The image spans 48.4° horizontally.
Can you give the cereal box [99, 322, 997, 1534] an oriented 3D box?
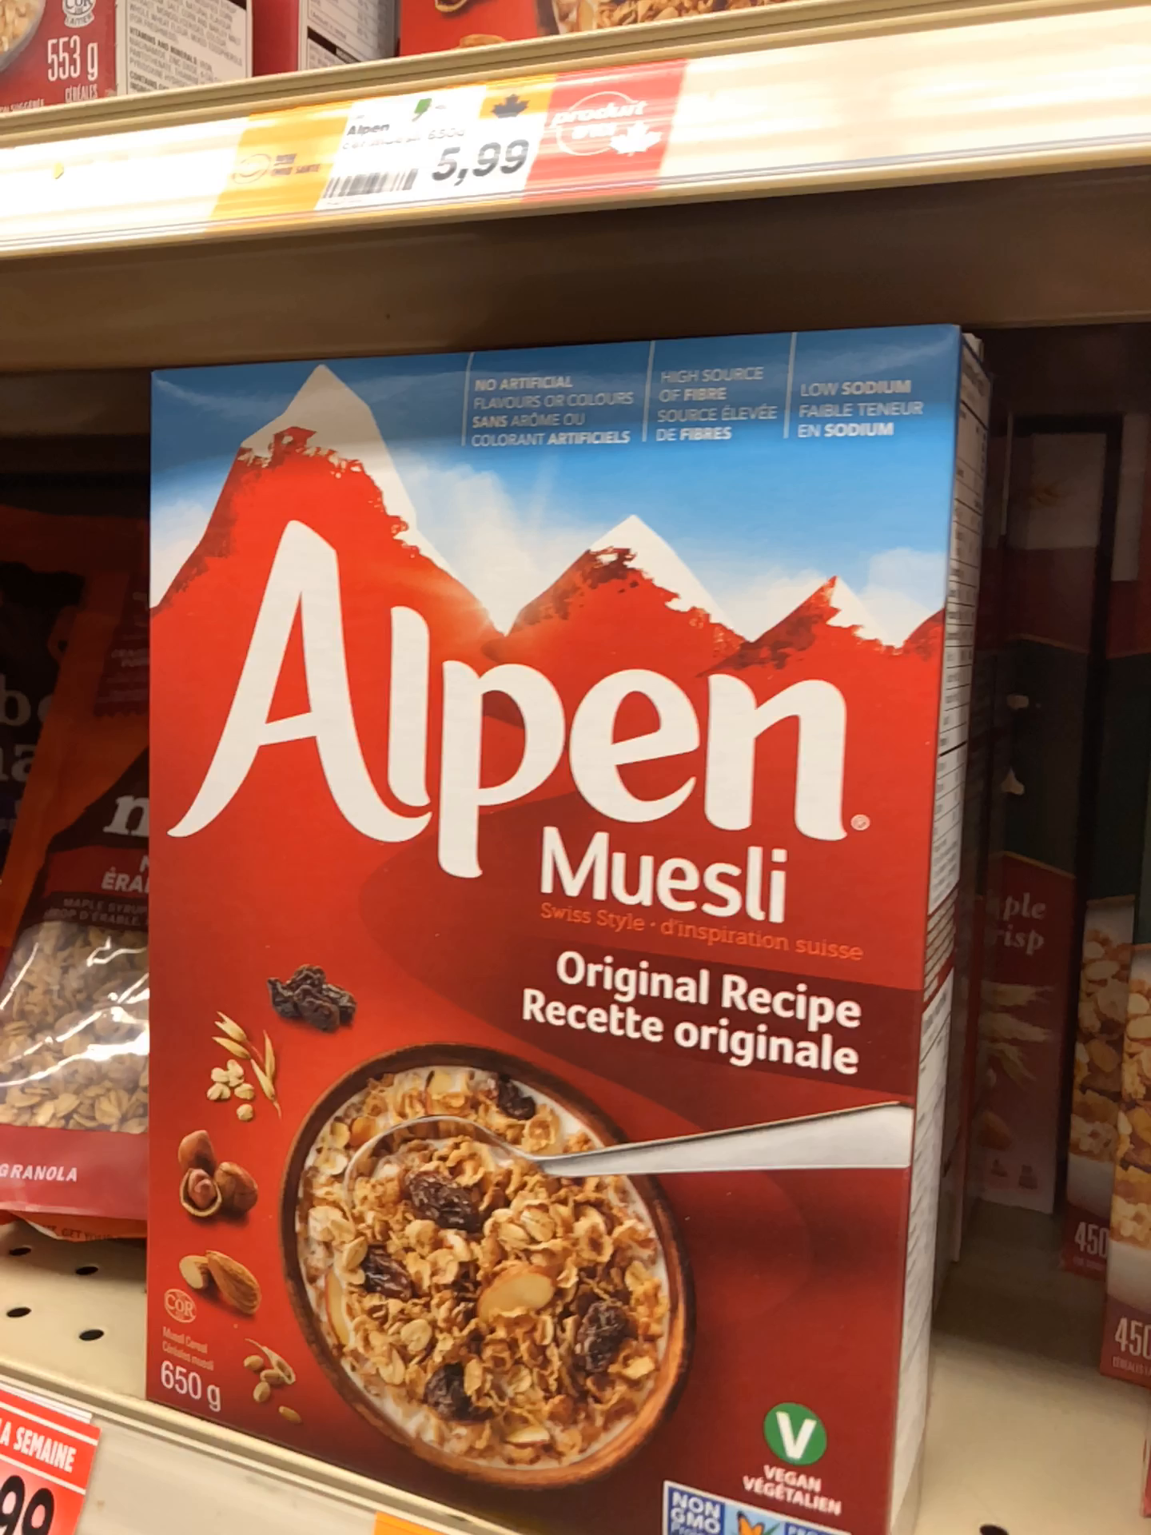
[{"bbox_3d":[-0.012,0.036,0.284,0.180,0.239,0.060,5,8,22],"label":"cereal box"}]
